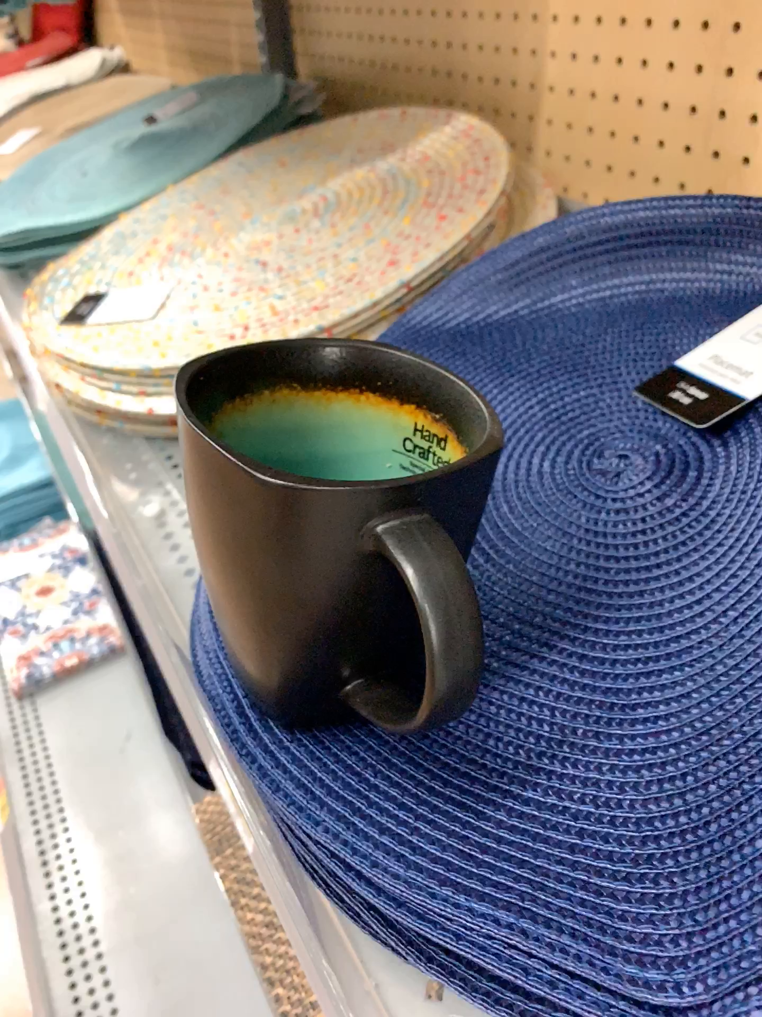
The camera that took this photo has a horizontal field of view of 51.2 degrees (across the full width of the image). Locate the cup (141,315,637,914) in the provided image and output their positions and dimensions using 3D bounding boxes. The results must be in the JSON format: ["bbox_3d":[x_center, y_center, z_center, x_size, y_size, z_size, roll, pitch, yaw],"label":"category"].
[{"bbox_3d":[-0.010,0.019,0.247,0.090,0.109,0.131,-12,35,-21],"label":"cup"}]
